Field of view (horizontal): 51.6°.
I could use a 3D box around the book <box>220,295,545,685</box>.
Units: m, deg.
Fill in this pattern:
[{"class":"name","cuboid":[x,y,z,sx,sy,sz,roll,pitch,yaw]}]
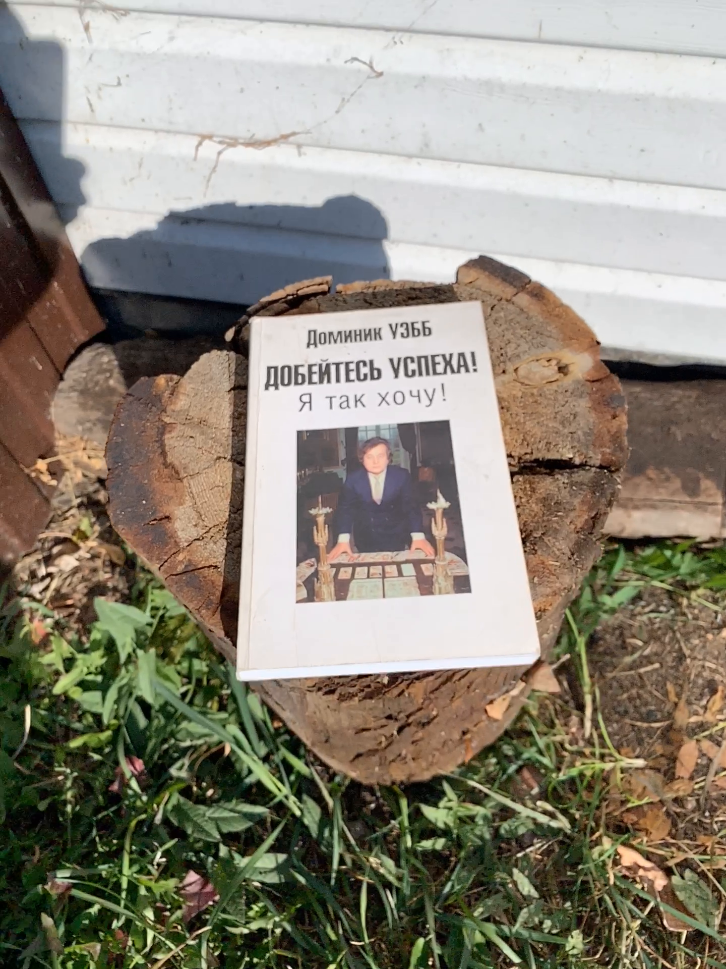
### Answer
[{"class":"book","cuboid":[0.004,-0.009,0.384,0.139,0.020,0.211,-4,59,1]}]
